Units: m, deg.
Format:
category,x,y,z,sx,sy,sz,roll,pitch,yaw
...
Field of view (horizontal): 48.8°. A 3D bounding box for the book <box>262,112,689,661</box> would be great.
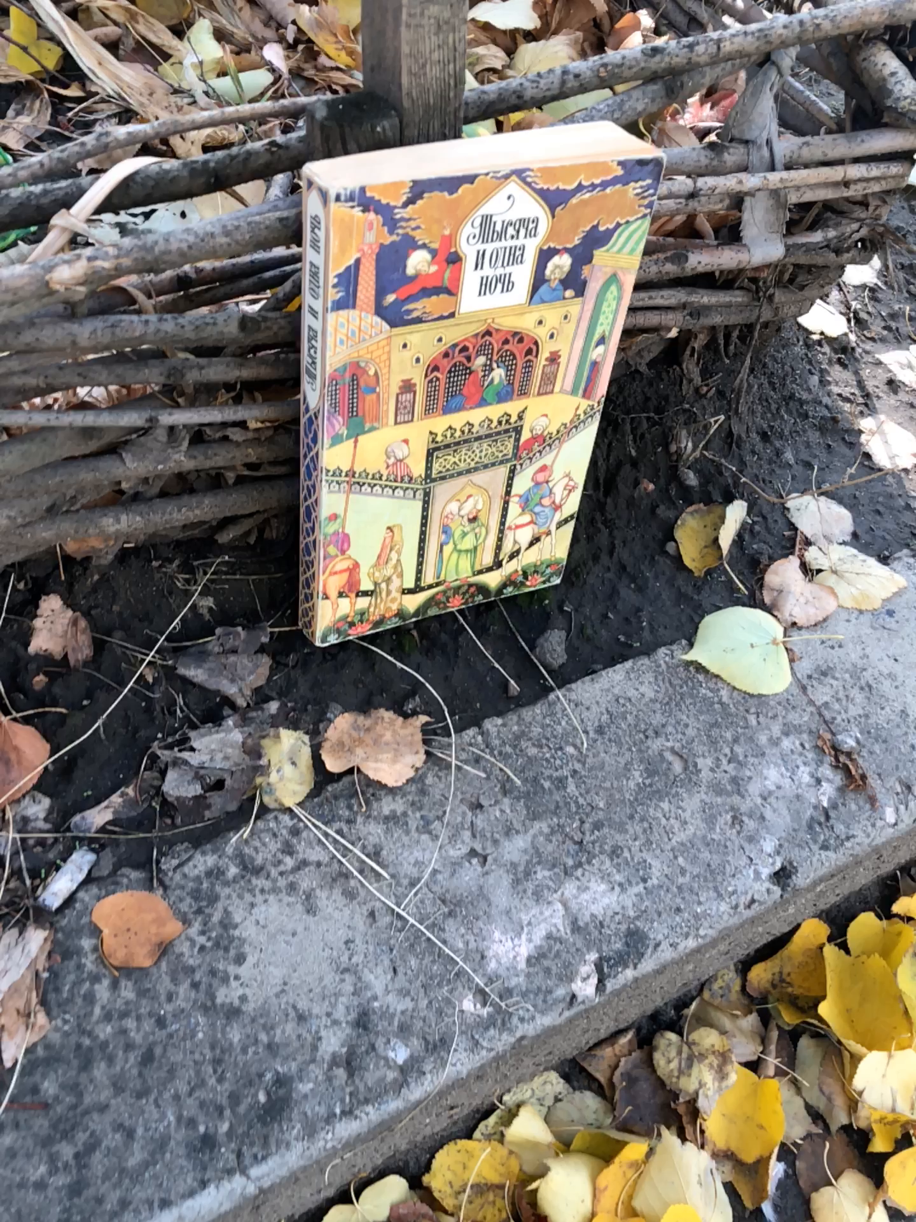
category,x,y,z,sx,sy,sz,roll,pitch,yaw
book,0.001,-0.069,0.354,0.123,0.182,0.029,-15,49,-20
